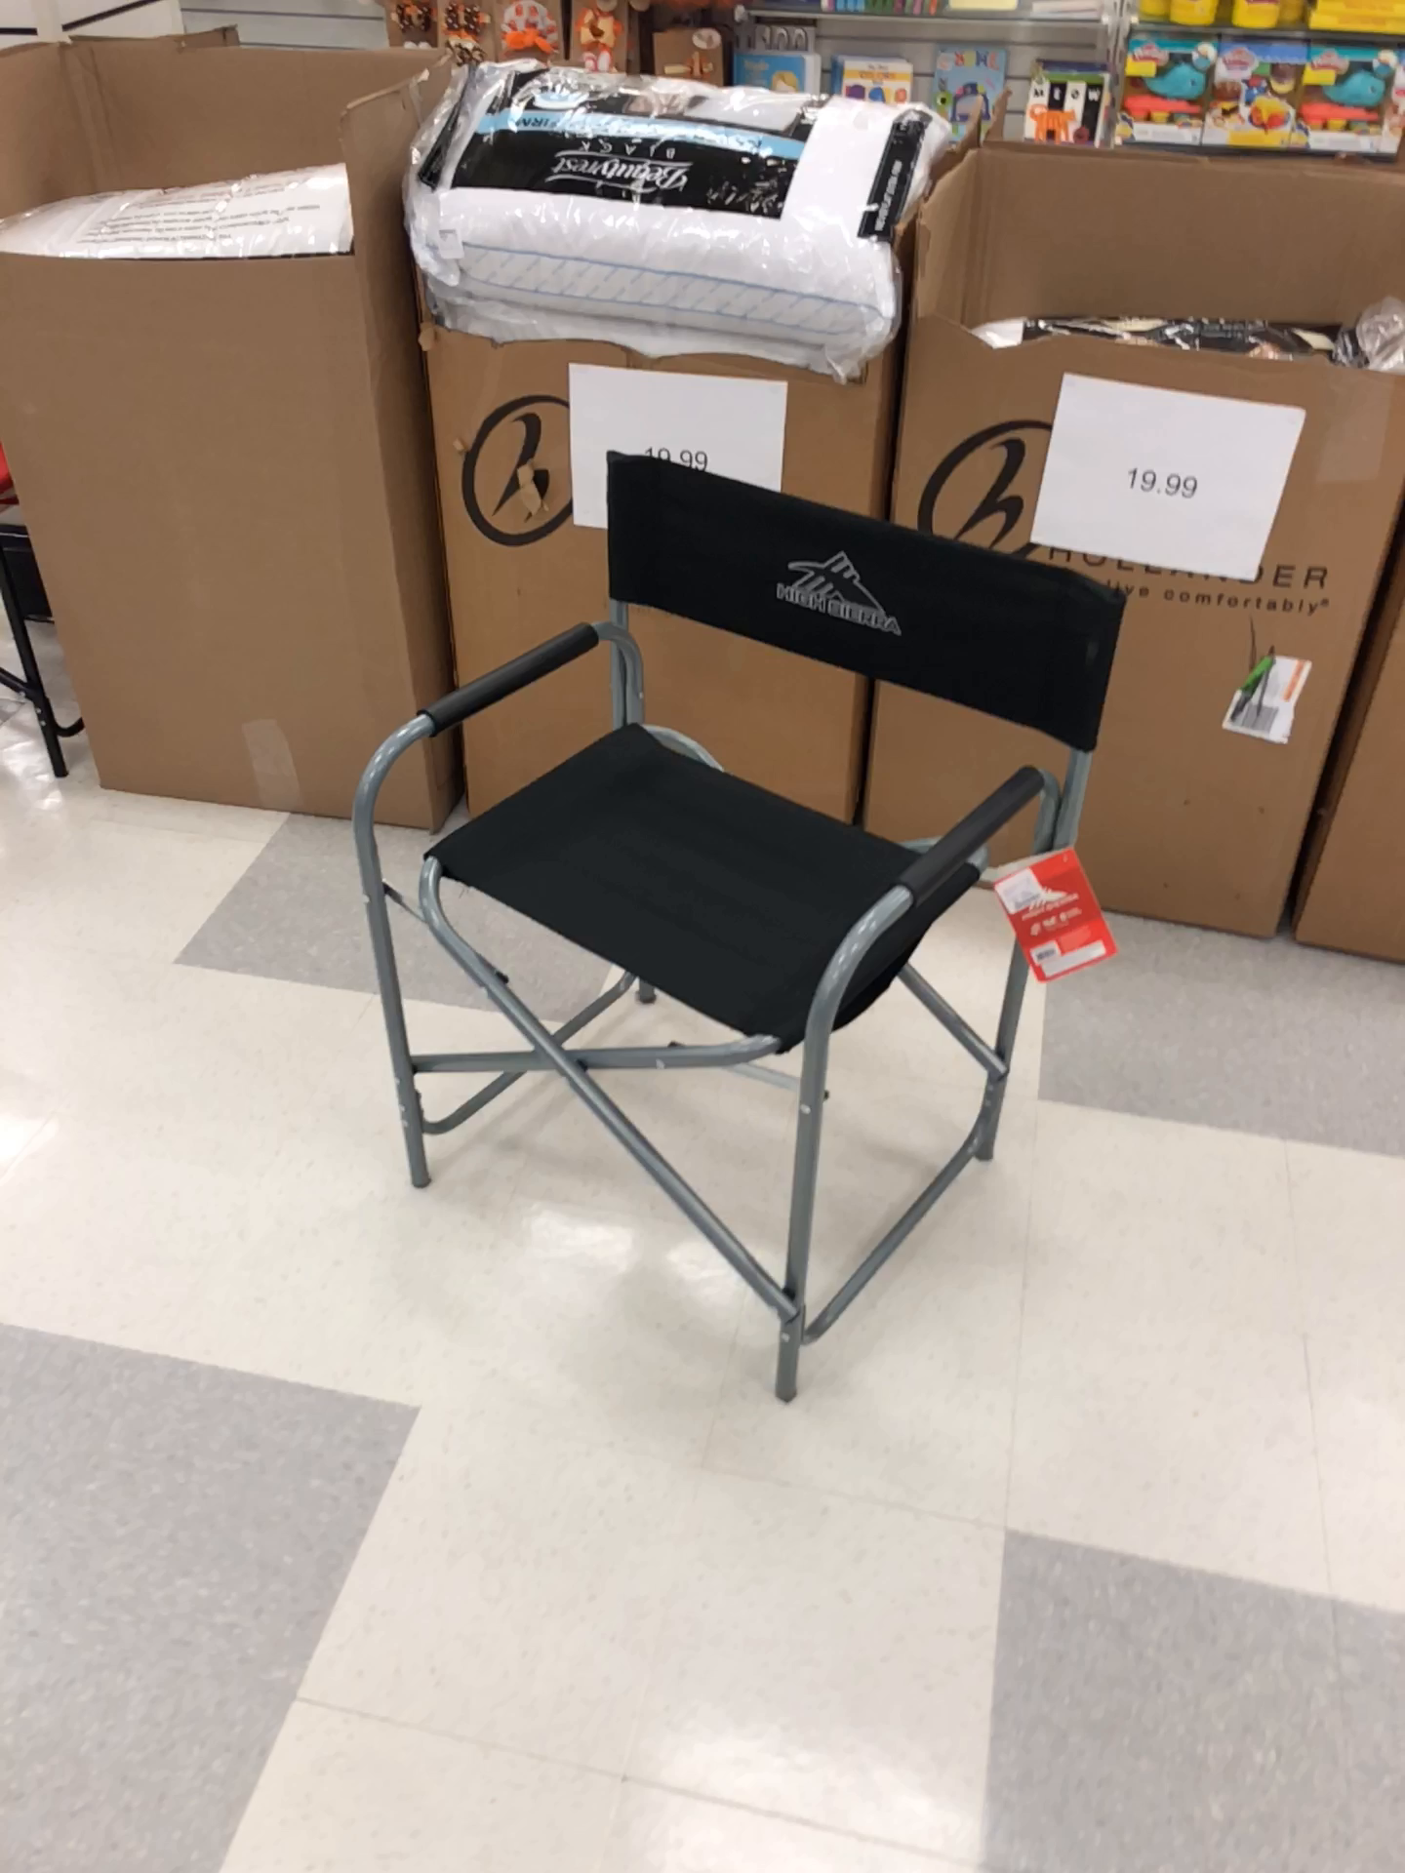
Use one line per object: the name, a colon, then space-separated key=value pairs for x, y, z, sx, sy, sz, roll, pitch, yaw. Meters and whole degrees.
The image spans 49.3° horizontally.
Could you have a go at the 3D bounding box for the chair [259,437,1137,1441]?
chair: x=0.001 y=-0.024 z=1.614 sx=0.625 sy=0.736 sz=0.500 roll=24 pitch=44 yaw=28
